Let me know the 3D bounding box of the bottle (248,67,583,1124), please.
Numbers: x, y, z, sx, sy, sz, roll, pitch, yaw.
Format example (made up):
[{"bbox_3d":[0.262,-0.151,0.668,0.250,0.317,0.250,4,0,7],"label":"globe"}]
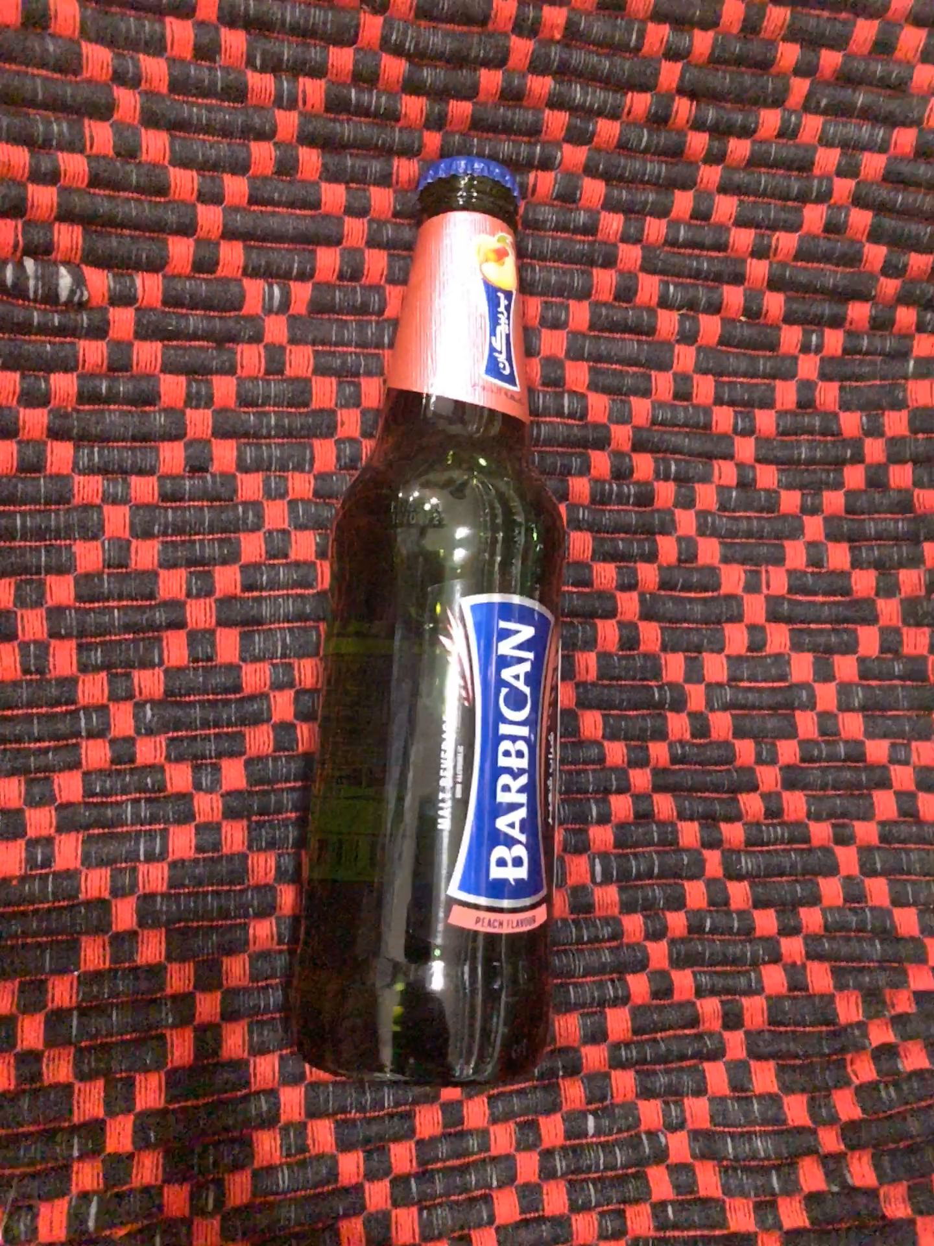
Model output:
[{"bbox_3d":[-0.006,-0.012,0.228,0.050,0.050,0.220,-3,77,24],"label":"bottle"}]
